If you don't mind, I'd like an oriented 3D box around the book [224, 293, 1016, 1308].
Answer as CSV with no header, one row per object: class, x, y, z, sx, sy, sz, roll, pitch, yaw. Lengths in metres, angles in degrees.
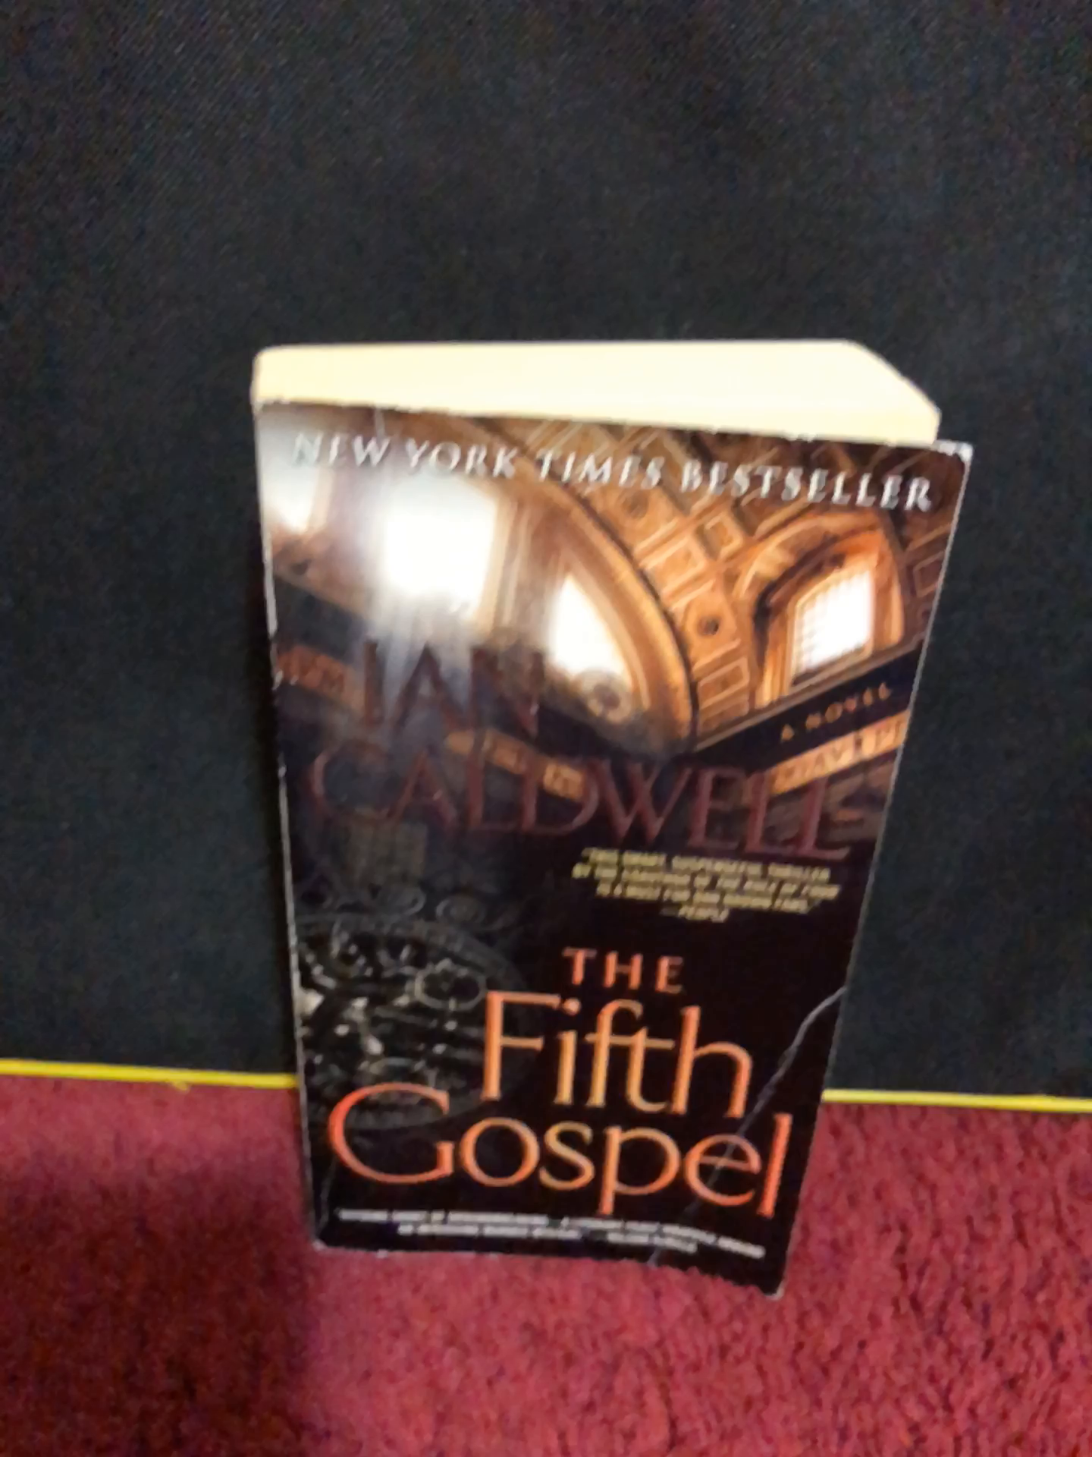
book,0.008,0.023,0.256,0.120,0.199,0.050,6,28,6
